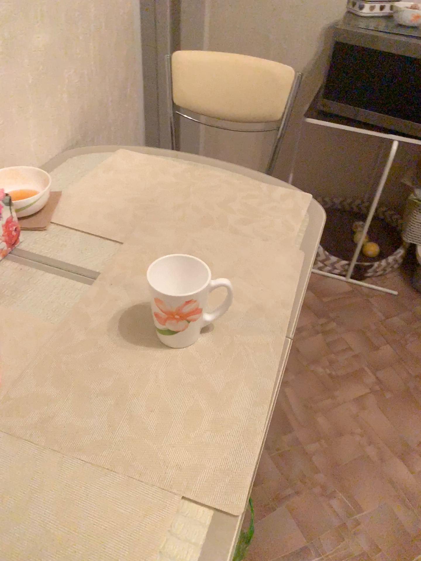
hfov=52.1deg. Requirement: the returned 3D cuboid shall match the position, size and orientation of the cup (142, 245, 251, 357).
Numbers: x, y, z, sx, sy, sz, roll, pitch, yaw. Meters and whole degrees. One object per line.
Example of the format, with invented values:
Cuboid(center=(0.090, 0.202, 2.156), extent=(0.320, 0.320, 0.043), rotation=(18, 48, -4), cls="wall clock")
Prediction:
Cuboid(center=(-0.022, 0.026, 0.547), extent=(0.120, 0.109, 0.081), rotation=(-4, 43, -8), cls="cup")
